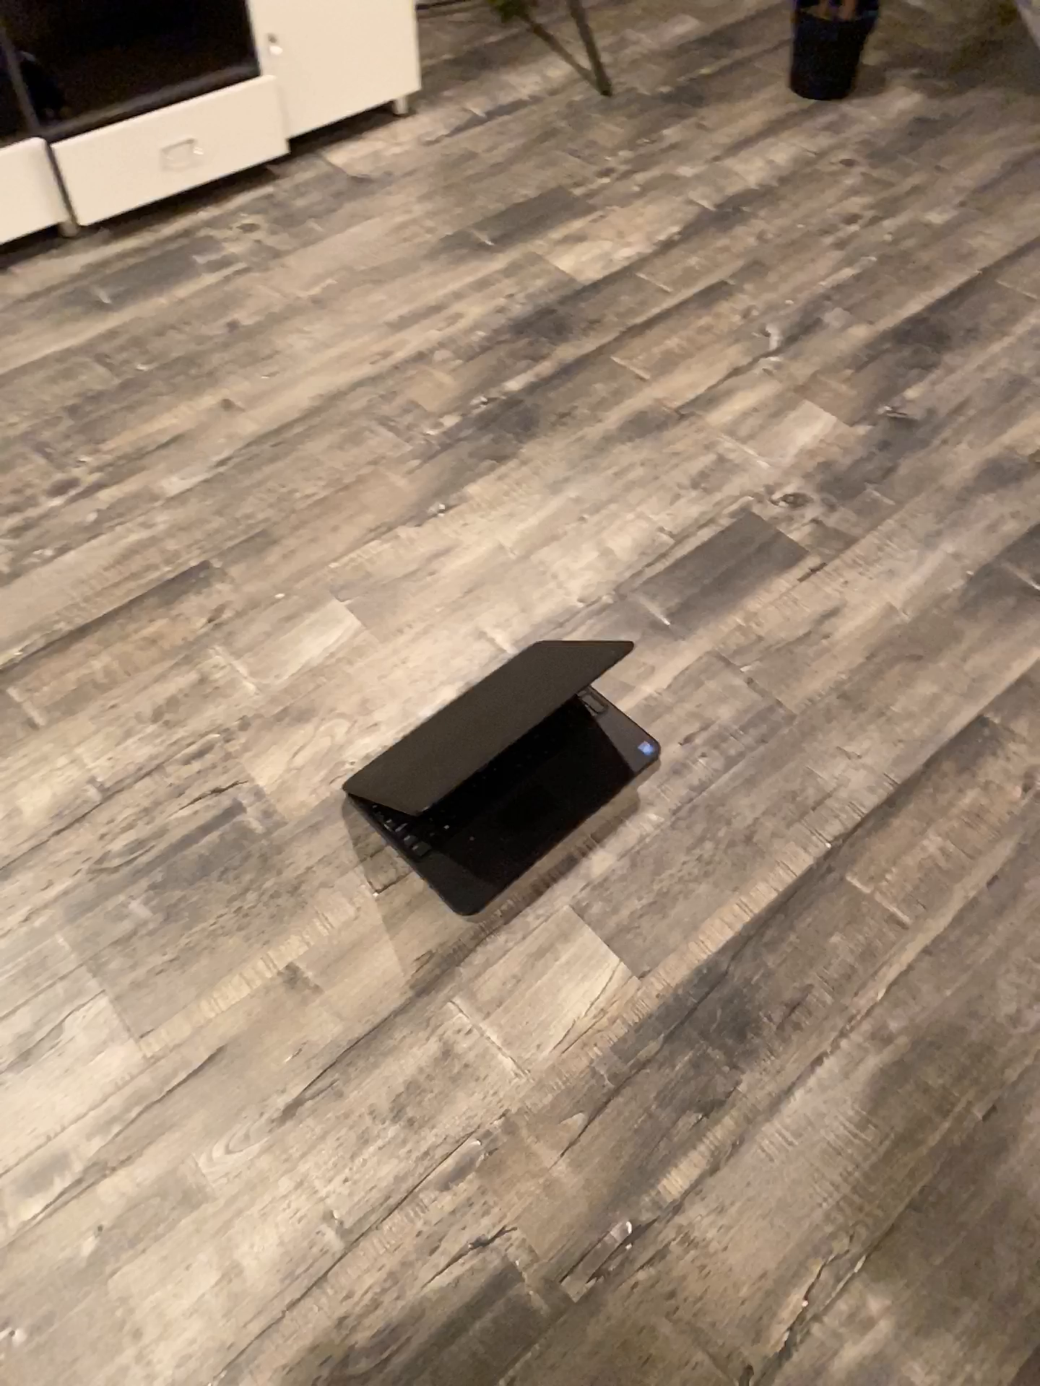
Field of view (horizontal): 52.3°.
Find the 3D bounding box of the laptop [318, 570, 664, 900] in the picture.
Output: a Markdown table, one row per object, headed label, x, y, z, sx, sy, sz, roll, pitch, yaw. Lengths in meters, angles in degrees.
| label | x | y | z | sx | sy | sz | roll | pitch | yaw |
| --- | --- | --- | --- | --- | --- | --- | --- | --- | --- |
| laptop | -0.033 | 0.045 | 1.358 | 0.353 | 0.170 | 0.231 | -37 | 60 | -25 |
